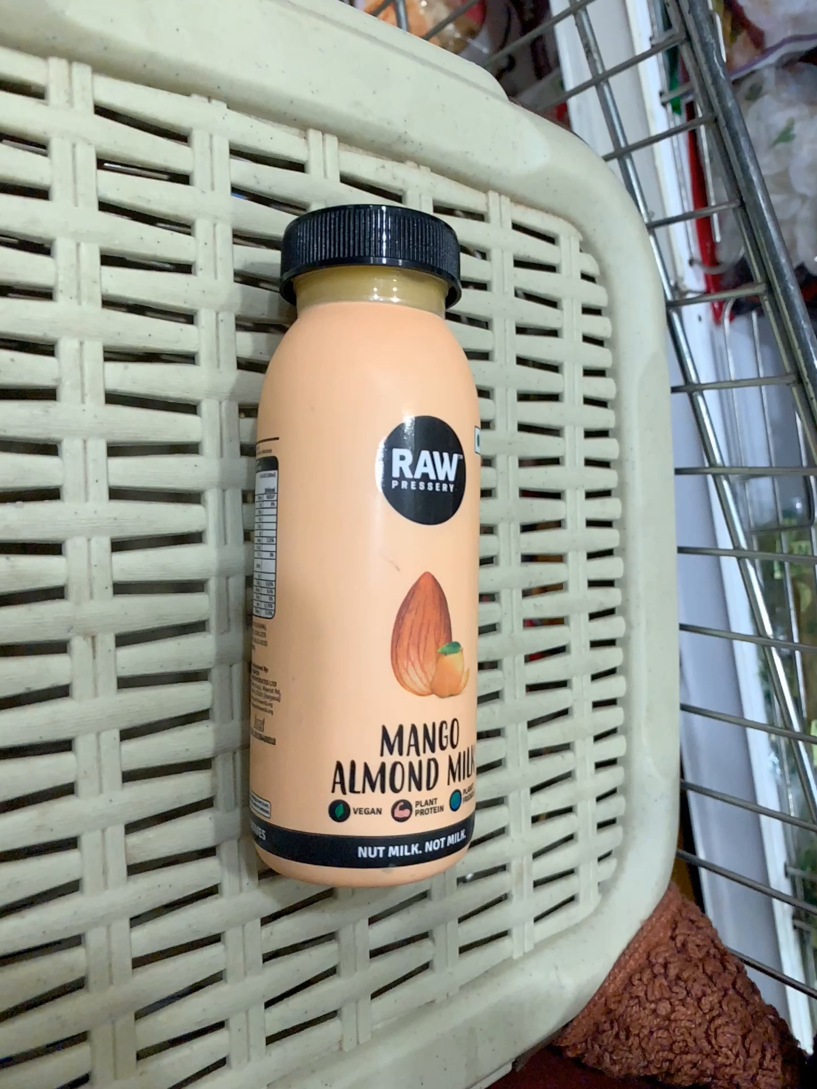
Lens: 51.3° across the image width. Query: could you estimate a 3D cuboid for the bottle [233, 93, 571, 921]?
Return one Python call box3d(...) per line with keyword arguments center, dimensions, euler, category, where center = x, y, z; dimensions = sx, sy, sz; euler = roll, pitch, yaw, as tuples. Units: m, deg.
box3d(center=(0.000, -0.006, 0.189), dimensions=(0.060, 0.040, 0.150), euler=(3, 88, -42), category="bottle")
